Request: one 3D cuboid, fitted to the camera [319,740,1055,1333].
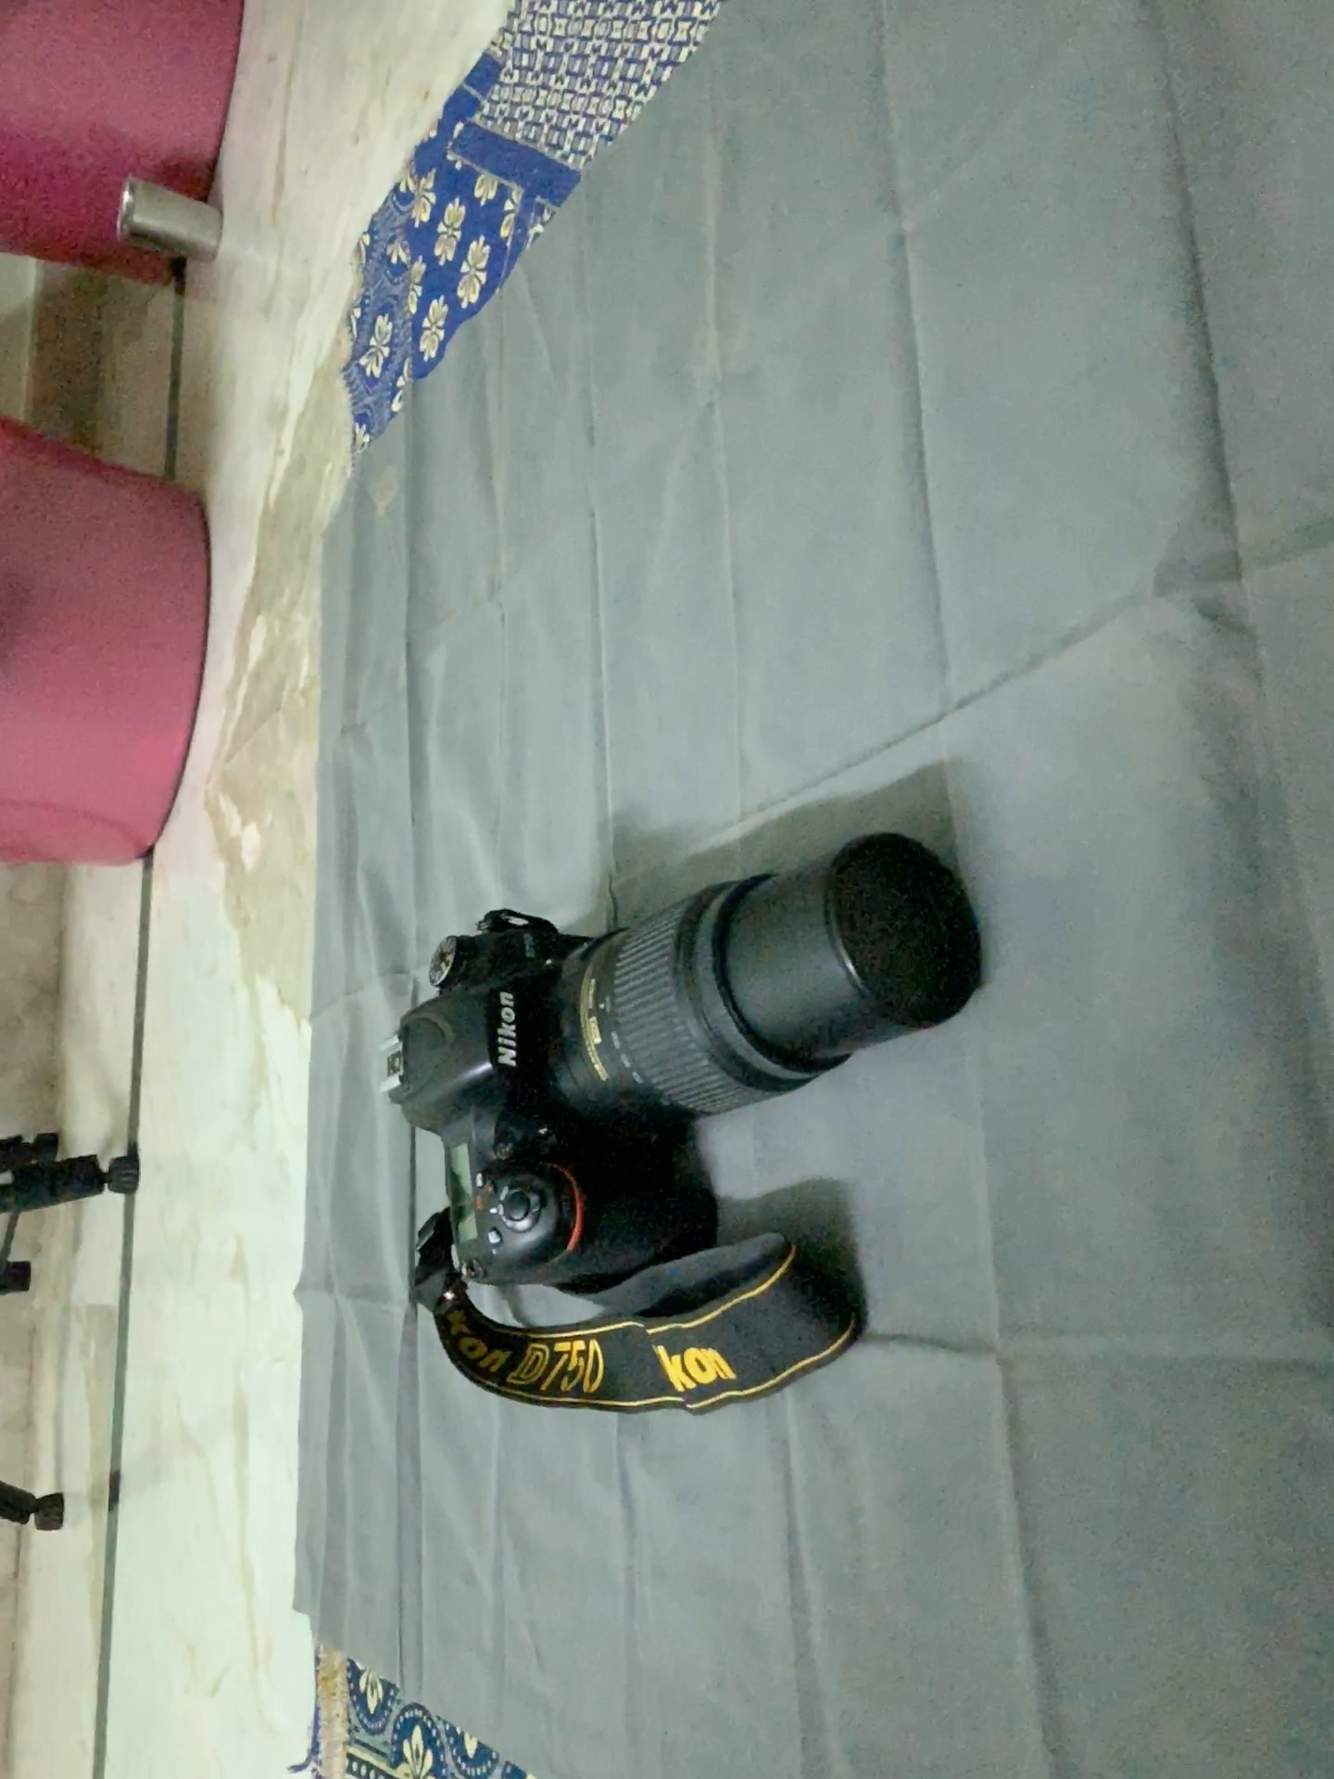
[{"bbox_3d":[-0.022,0.075,0.484,0.289,0.109,0.147,-27,62,53],"label":"camera"}]
